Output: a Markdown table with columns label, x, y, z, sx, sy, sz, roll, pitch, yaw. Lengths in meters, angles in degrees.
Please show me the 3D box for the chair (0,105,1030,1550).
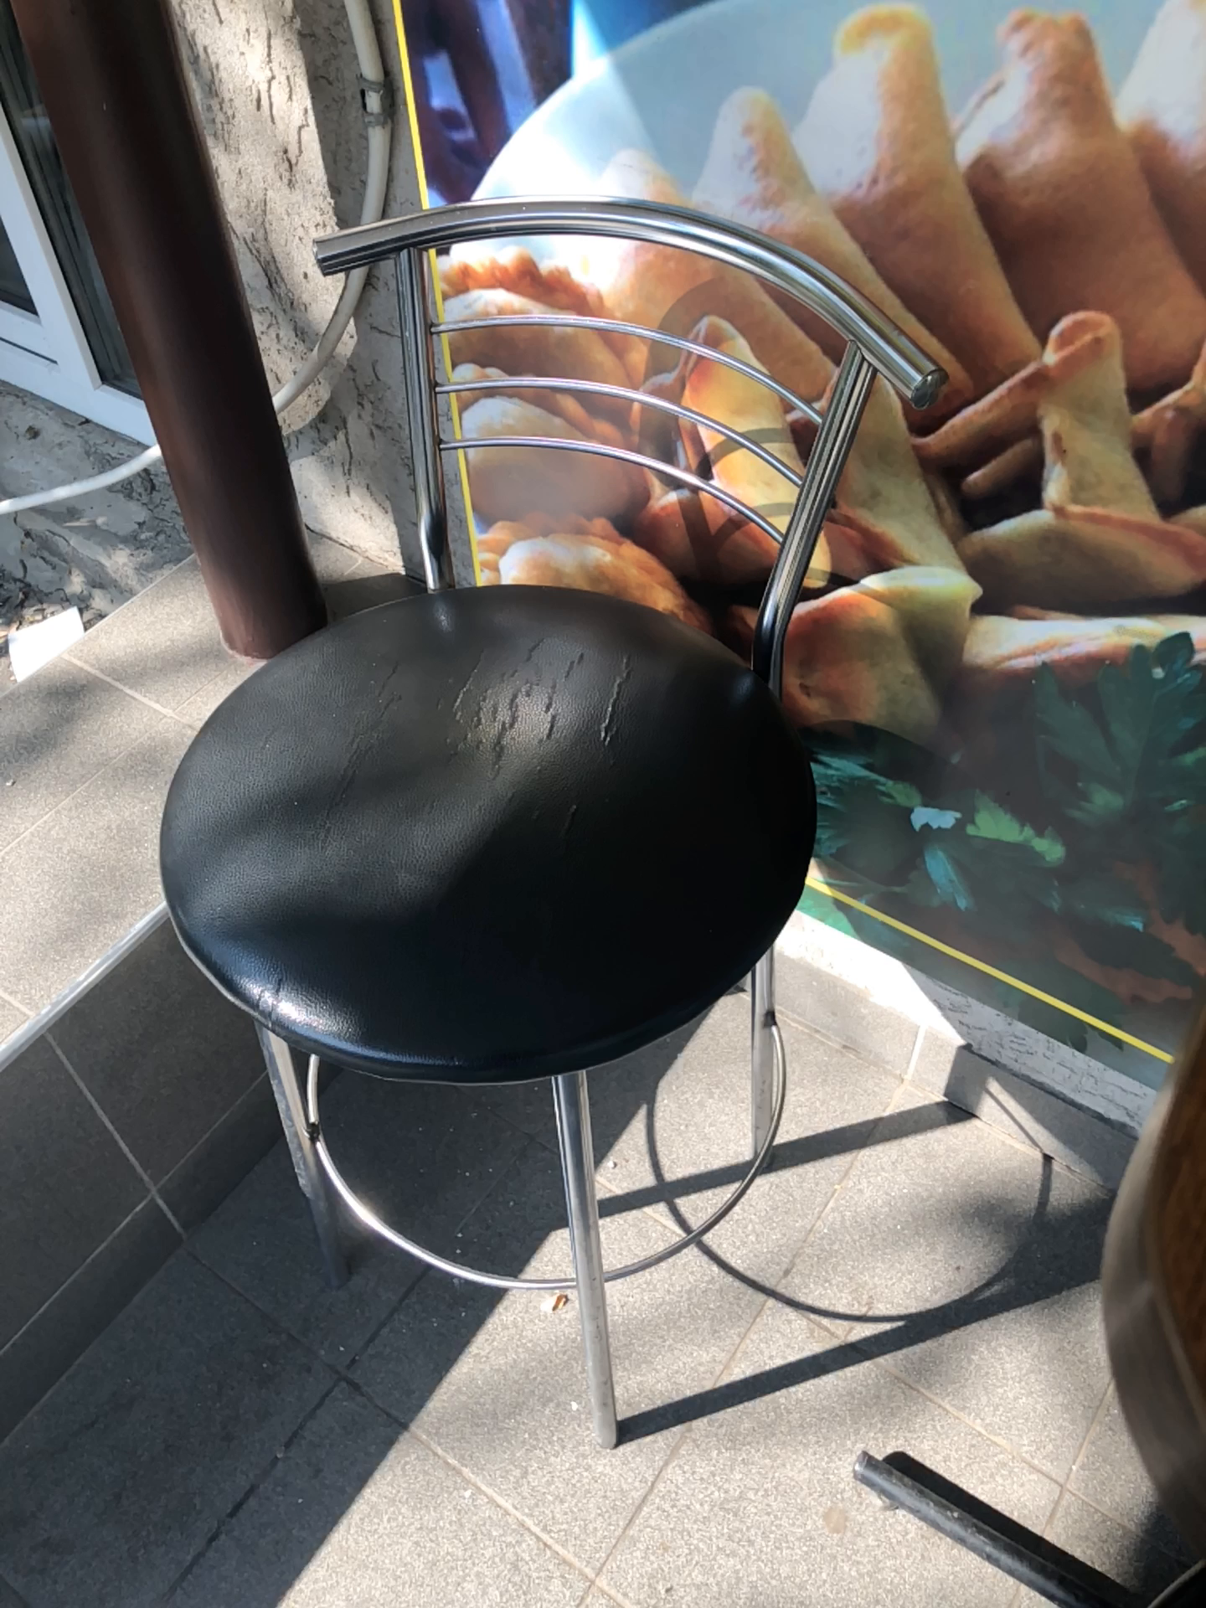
| label | x | y | z | sx | sy | sz | roll | pitch | yaw |
| --- | --- | --- | --- | --- | --- | --- | --- | --- | --- |
| chair | -0.077 | 0.094 | 0.999 | 0.480 | 0.937 | 0.481 | 20 | 53 | 19 |
